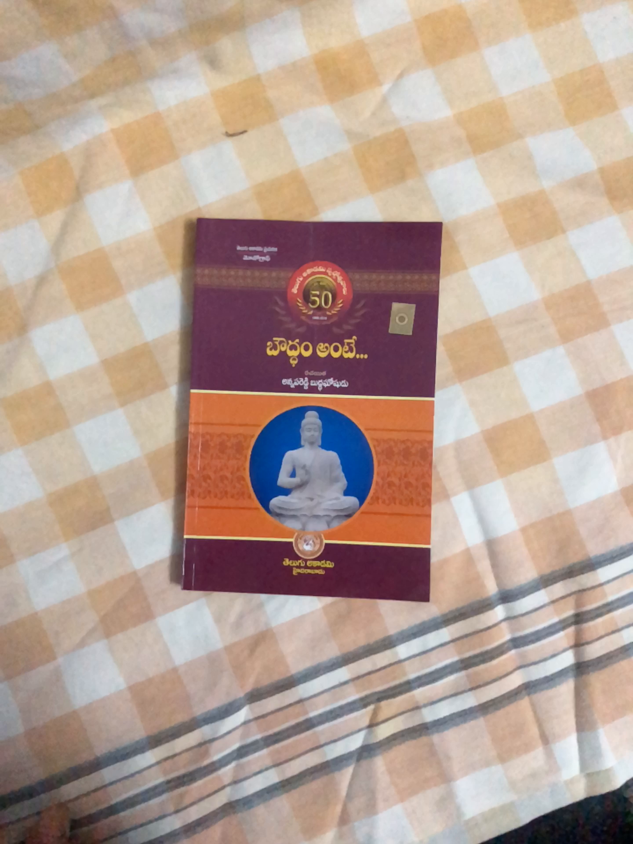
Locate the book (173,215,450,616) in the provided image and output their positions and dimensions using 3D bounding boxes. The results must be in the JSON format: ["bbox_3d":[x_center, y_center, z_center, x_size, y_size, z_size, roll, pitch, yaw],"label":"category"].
[{"bbox_3d":[-0.003,-0.004,0.438,0.160,0.020,0.240,2,89,-1],"label":"book"}]
